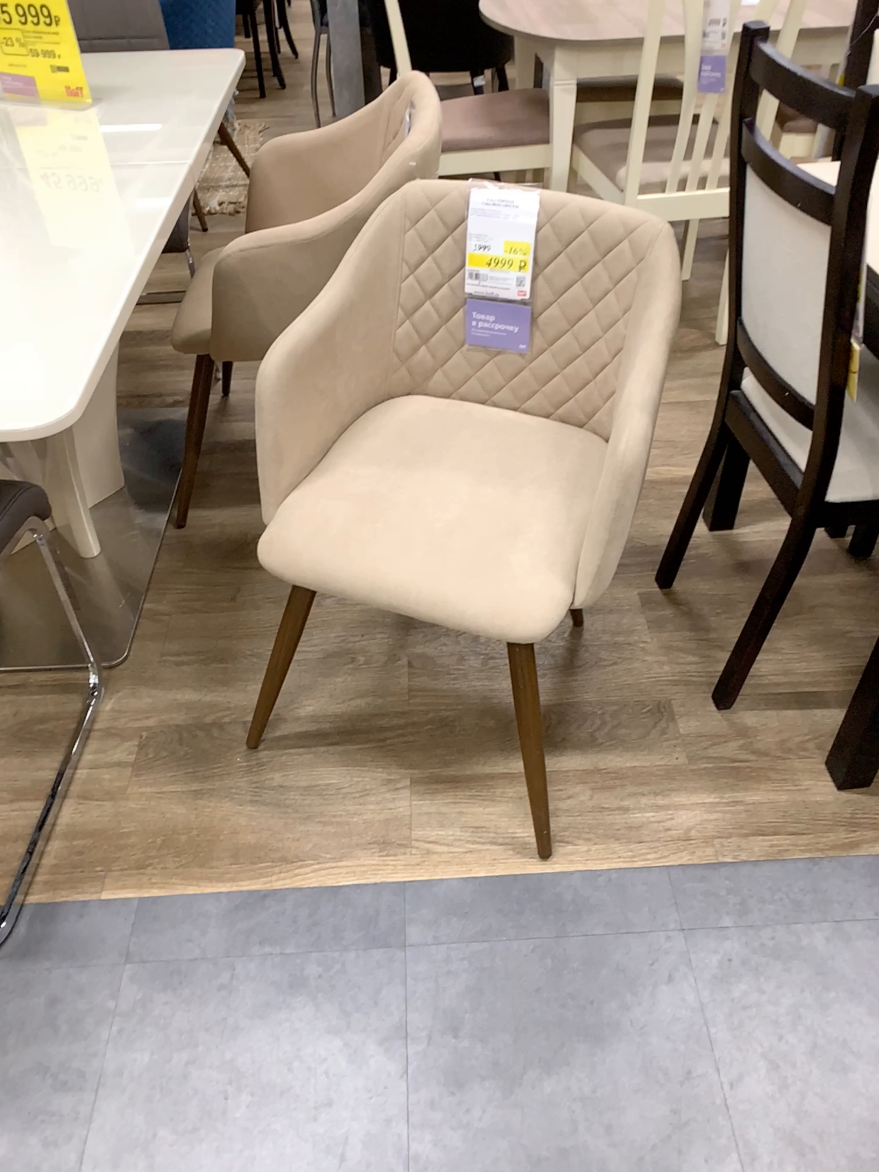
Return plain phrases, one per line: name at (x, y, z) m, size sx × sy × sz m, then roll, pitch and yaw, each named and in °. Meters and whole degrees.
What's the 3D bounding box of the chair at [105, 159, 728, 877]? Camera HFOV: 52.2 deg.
chair at (0.016, -0.108, 1.409) m, size 0.600 × 0.835 × 0.573 m, roll 15°, pitch 45°, yaw 18°
